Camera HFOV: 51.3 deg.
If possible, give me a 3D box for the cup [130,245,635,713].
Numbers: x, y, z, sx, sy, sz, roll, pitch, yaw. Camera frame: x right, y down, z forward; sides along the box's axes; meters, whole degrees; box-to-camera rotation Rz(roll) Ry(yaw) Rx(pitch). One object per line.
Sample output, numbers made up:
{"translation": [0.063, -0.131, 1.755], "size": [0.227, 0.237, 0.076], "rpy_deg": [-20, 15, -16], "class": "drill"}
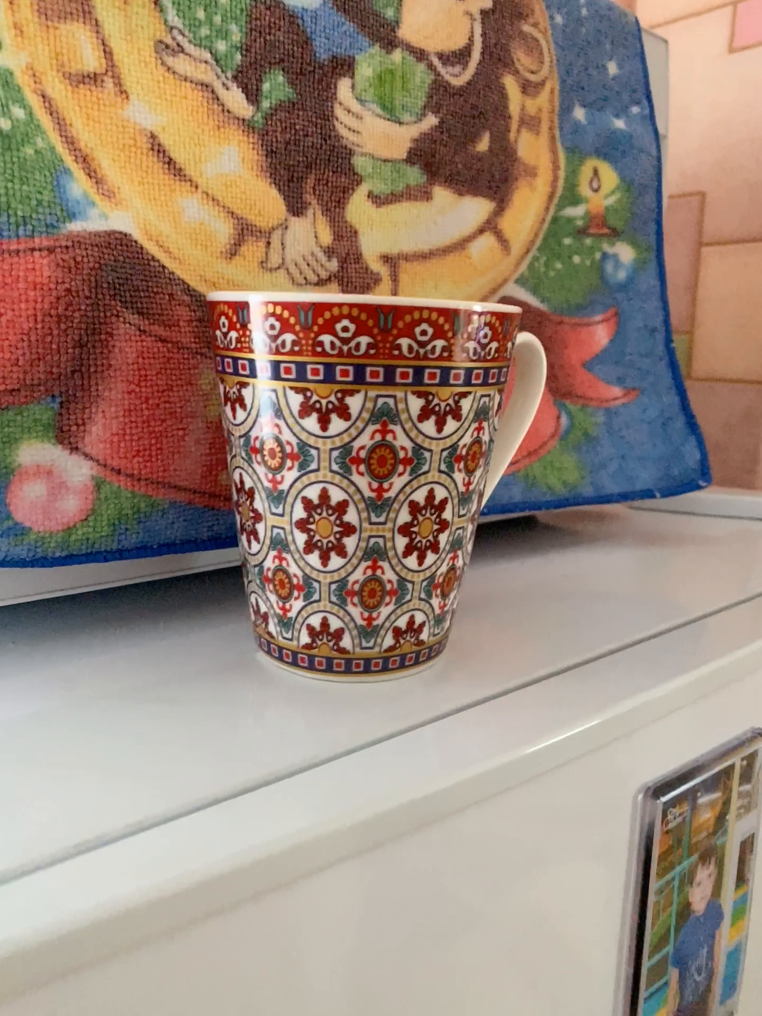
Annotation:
{"translation": [0.004, -0.018, 0.245], "size": [0.089, 0.101, 0.125], "rpy_deg": [11, 14, 42], "class": "cup"}
